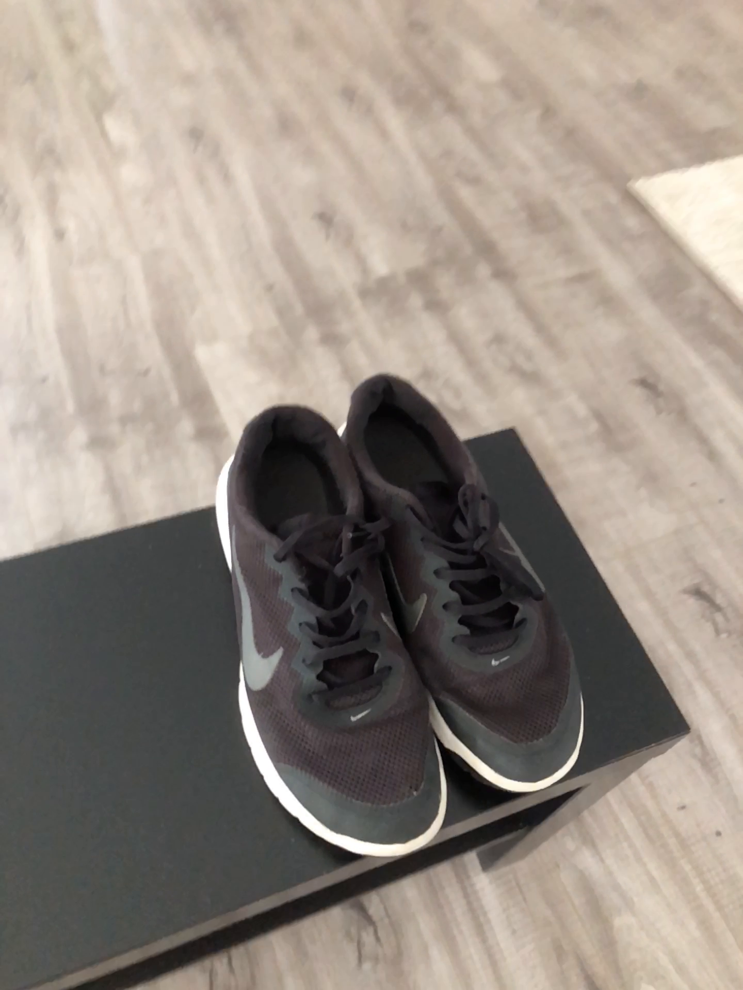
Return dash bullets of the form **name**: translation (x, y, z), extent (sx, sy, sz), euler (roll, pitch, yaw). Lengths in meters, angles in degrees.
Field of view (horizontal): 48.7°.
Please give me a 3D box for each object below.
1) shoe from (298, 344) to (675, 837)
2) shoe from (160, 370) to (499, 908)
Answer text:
- **shoe**: translation (0.053, 0.052, 0.534), extent (0.110, 0.110, 0.281), euler (-17, 60, -16)
- **shoe**: translation (-0.039, 0.074, 0.488), extent (0.110, 0.100, 0.281), euler (-13, 61, -14)
